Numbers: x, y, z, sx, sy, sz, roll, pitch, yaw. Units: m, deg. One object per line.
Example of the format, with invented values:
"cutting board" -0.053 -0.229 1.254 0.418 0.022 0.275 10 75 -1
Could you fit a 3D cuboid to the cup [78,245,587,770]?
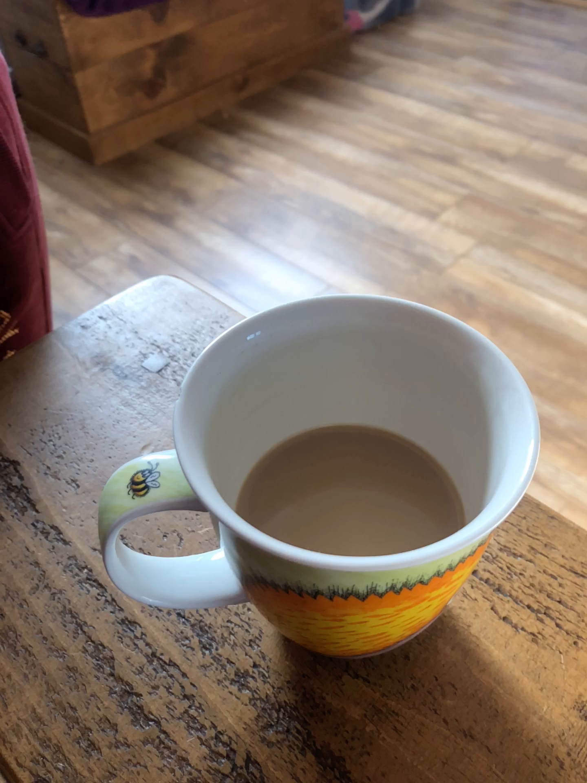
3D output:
"cup" 0.011 0.032 0.213 0.127 0.089 0.107 -14 48 -10
